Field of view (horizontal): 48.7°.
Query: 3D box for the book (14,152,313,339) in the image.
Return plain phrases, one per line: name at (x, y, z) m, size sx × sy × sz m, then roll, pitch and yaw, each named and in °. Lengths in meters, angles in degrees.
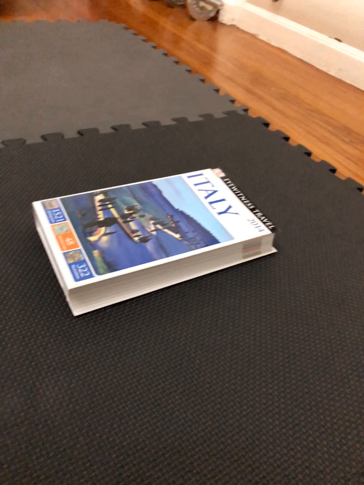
book at (-0.019, -0.018, 0.409) m, size 0.251 × 0.040 × 0.161 m, roll -15°, pitch 46°, yaw -26°
